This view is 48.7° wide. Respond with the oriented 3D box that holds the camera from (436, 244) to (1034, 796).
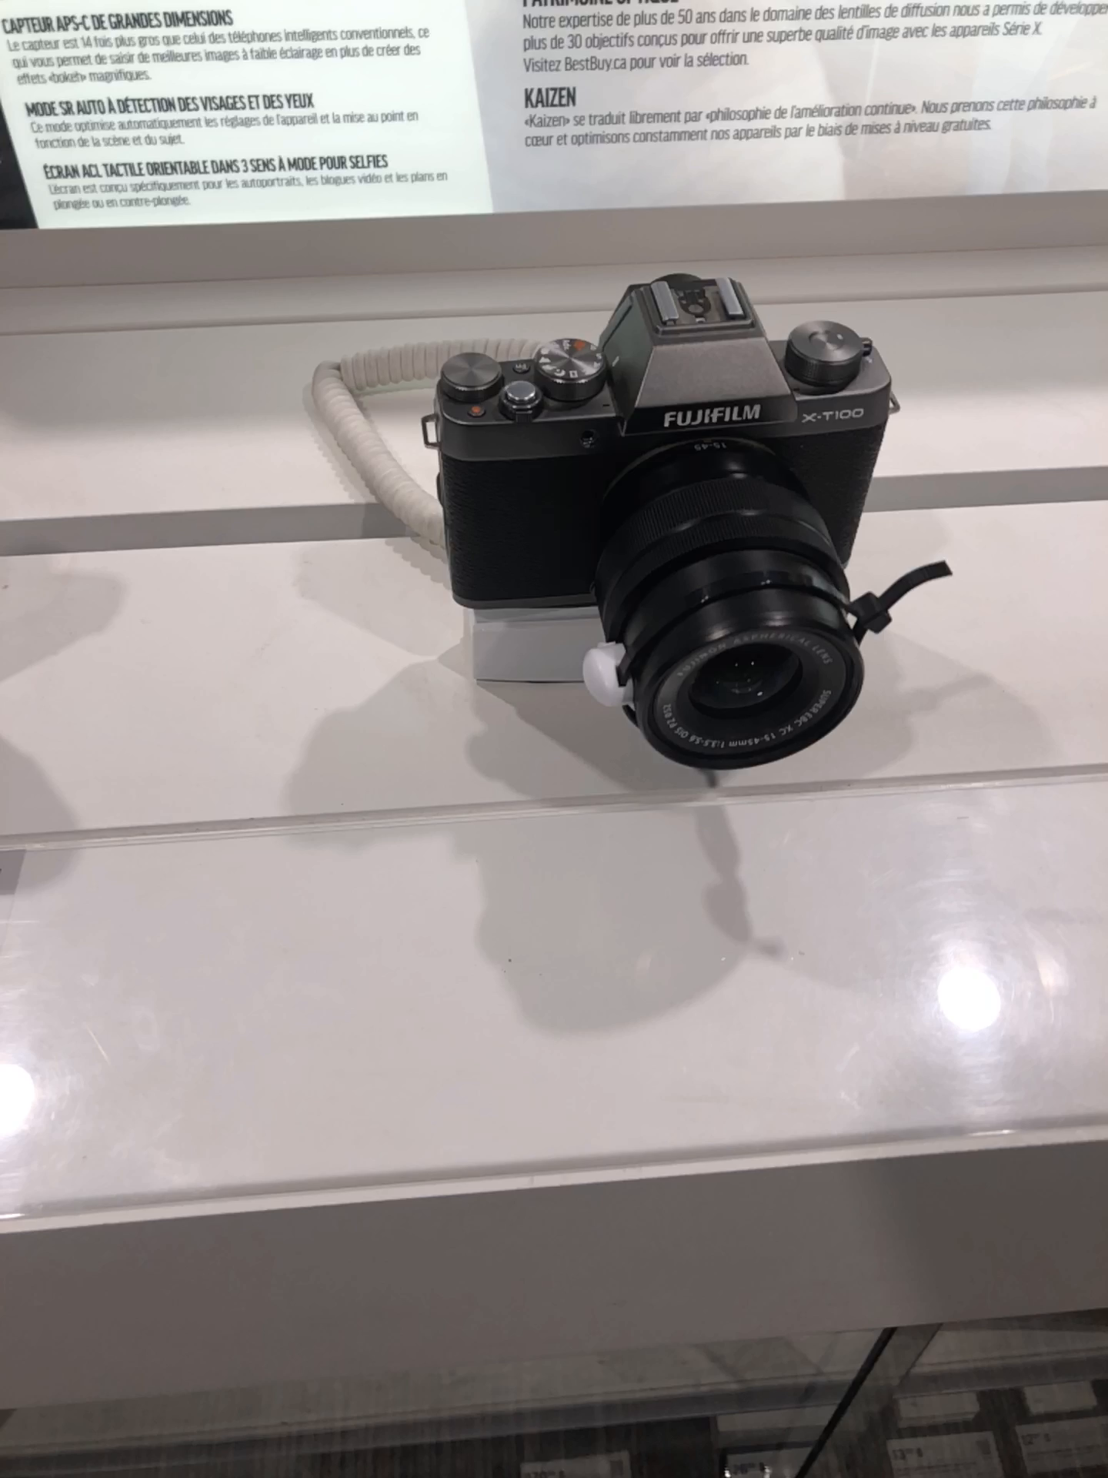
[{"bbox_3d":[0.038,-0.063,0.345,0.130,0.099,0.108,-5,47,-4],"label":"camera"}]
